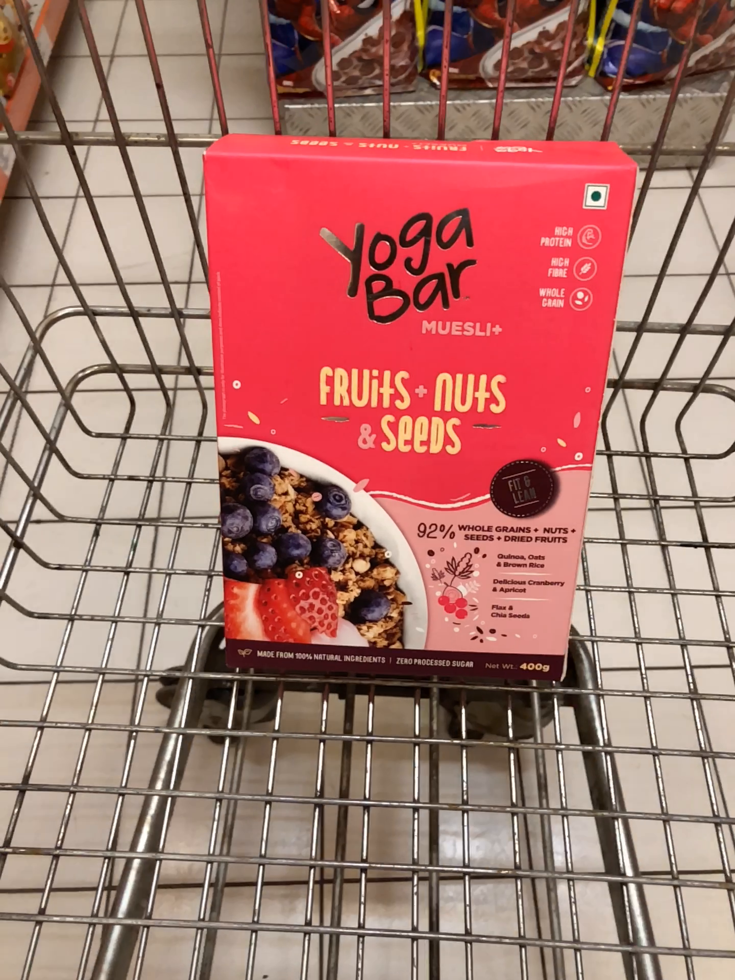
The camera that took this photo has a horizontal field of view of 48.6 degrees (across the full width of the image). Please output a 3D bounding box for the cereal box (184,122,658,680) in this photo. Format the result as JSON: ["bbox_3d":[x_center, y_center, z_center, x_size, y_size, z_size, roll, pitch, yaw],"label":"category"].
[{"bbox_3d":[0.017,-0.033,0.371,0.170,0.239,0.060,3,26,2],"label":"cereal box"}]
